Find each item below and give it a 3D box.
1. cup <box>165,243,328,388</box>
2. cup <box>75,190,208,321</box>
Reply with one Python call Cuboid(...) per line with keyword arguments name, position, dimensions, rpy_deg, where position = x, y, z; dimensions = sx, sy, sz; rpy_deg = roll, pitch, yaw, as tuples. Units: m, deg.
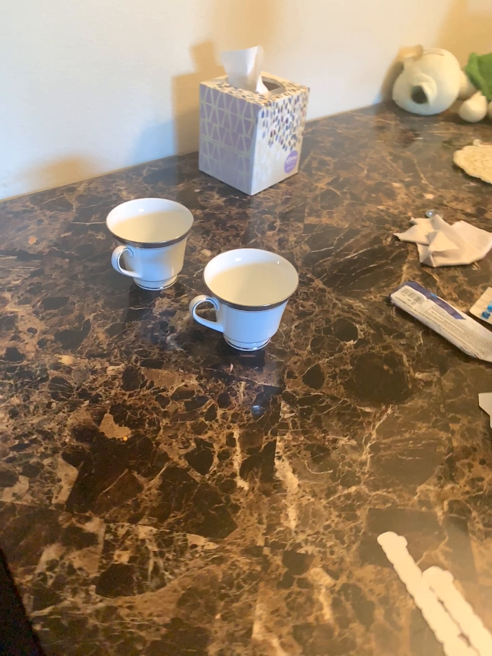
Cuboid(name="cup", position=(-0.003, -0.015, 0.479), dimensions=(0.120, 0.070, 0.090), rpy_deg=(-16, 46, -20))
Cuboid(name="cup", position=(-0.102, -0.079, 0.528), dimensions=(0.090, 0.070, 0.110), rpy_deg=(15, 44, 12))
